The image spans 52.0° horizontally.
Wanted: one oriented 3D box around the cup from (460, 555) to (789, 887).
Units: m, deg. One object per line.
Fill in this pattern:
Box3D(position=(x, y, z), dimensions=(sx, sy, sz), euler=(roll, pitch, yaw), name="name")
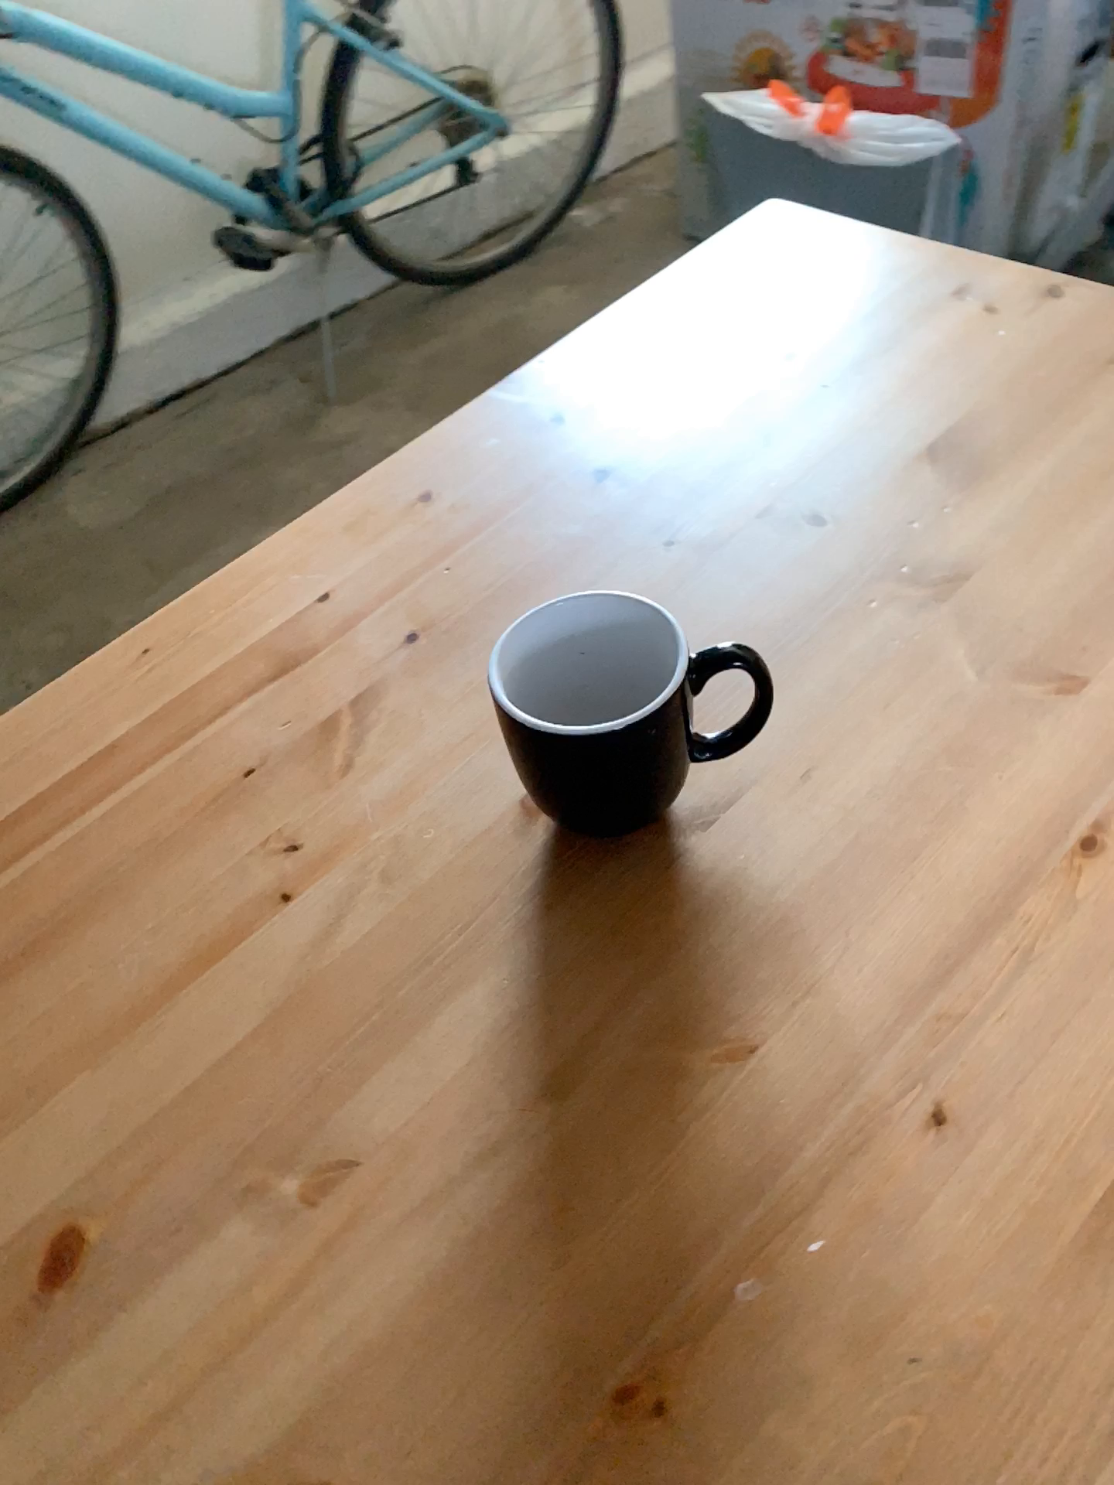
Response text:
Box3D(position=(0.036, -0.010, 0.588), dimensions=(0.140, 0.100, 0.100), euler=(-14, 49, 0), name="cup")
